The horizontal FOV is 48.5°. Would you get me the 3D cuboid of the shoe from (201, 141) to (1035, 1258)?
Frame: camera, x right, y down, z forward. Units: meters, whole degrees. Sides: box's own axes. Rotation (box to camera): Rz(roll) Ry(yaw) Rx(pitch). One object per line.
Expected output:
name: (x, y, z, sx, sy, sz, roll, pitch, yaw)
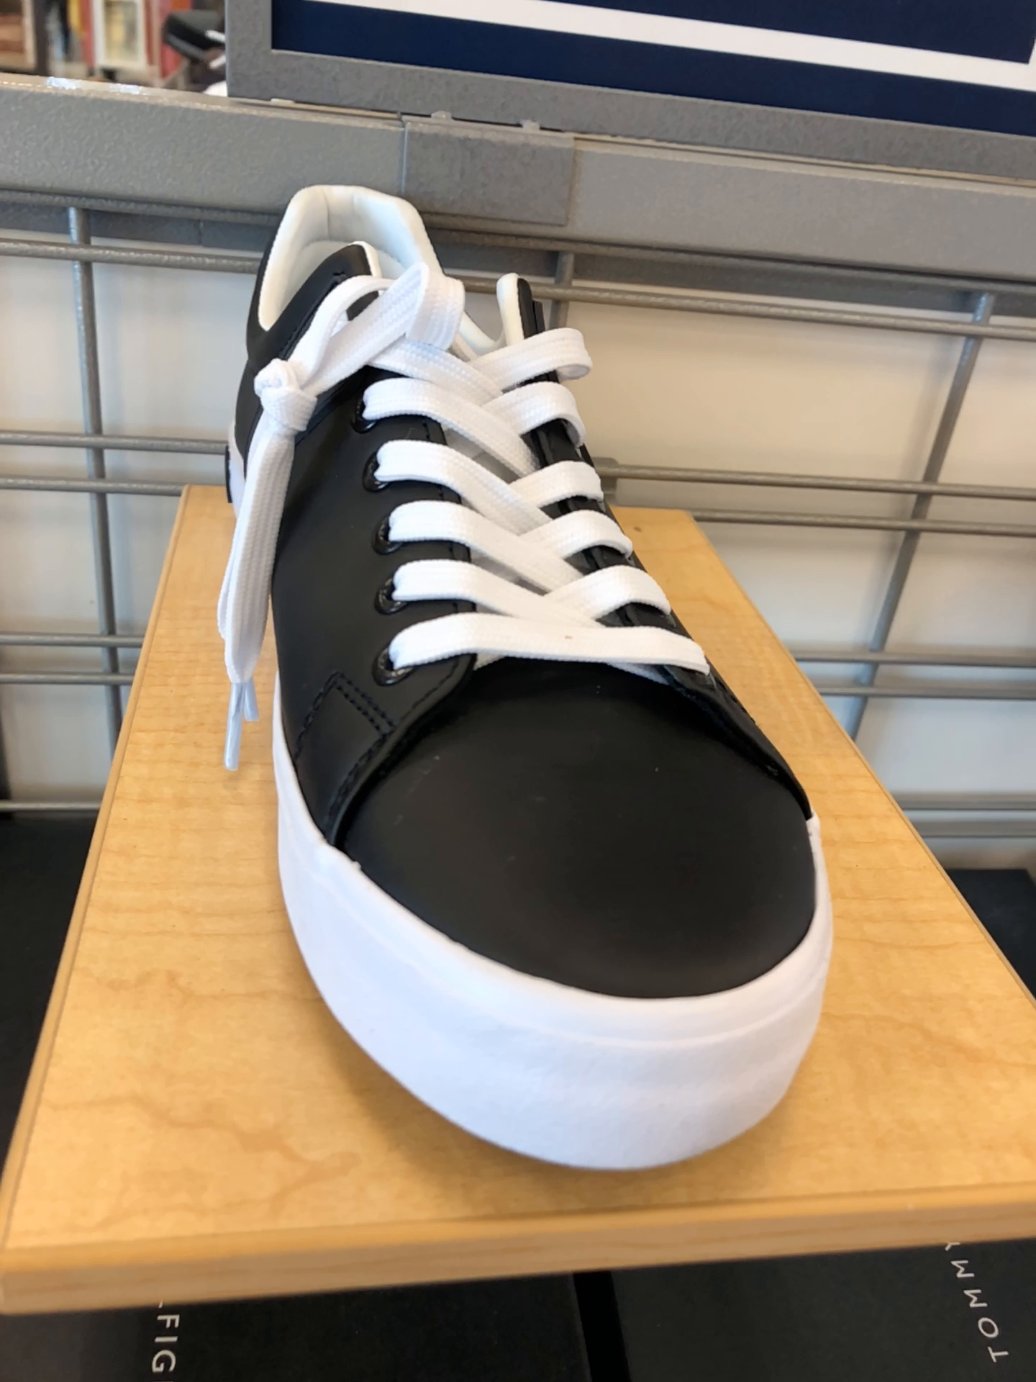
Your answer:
shoe: (-0.009, -0.047, 0.253, 0.100, 0.089, 0.292, -2, 32, -18)
